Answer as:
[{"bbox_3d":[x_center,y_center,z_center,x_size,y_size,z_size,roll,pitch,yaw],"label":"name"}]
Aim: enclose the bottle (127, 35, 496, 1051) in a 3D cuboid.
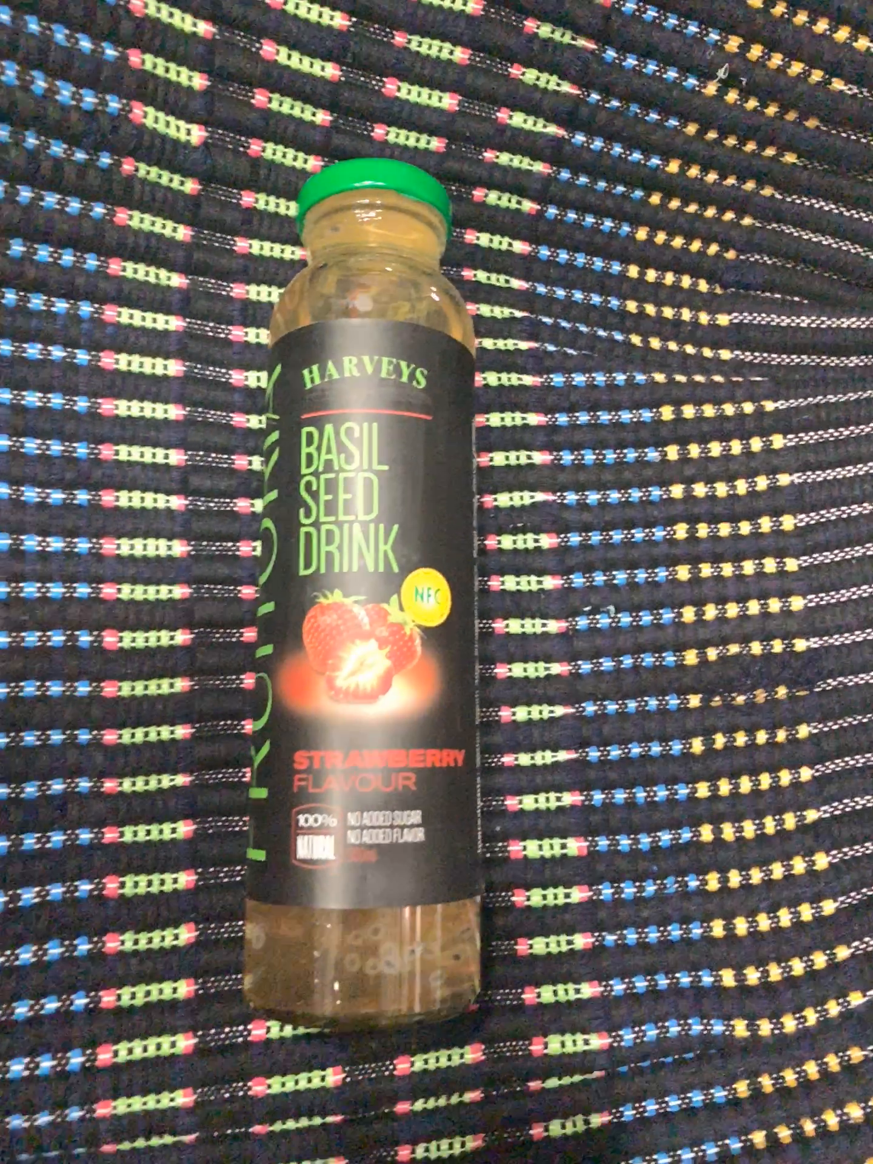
[{"bbox_3d":[-0.026,-0.013,0.225,0.060,0.060,0.220,-6,76,18],"label":"bottle"}]
